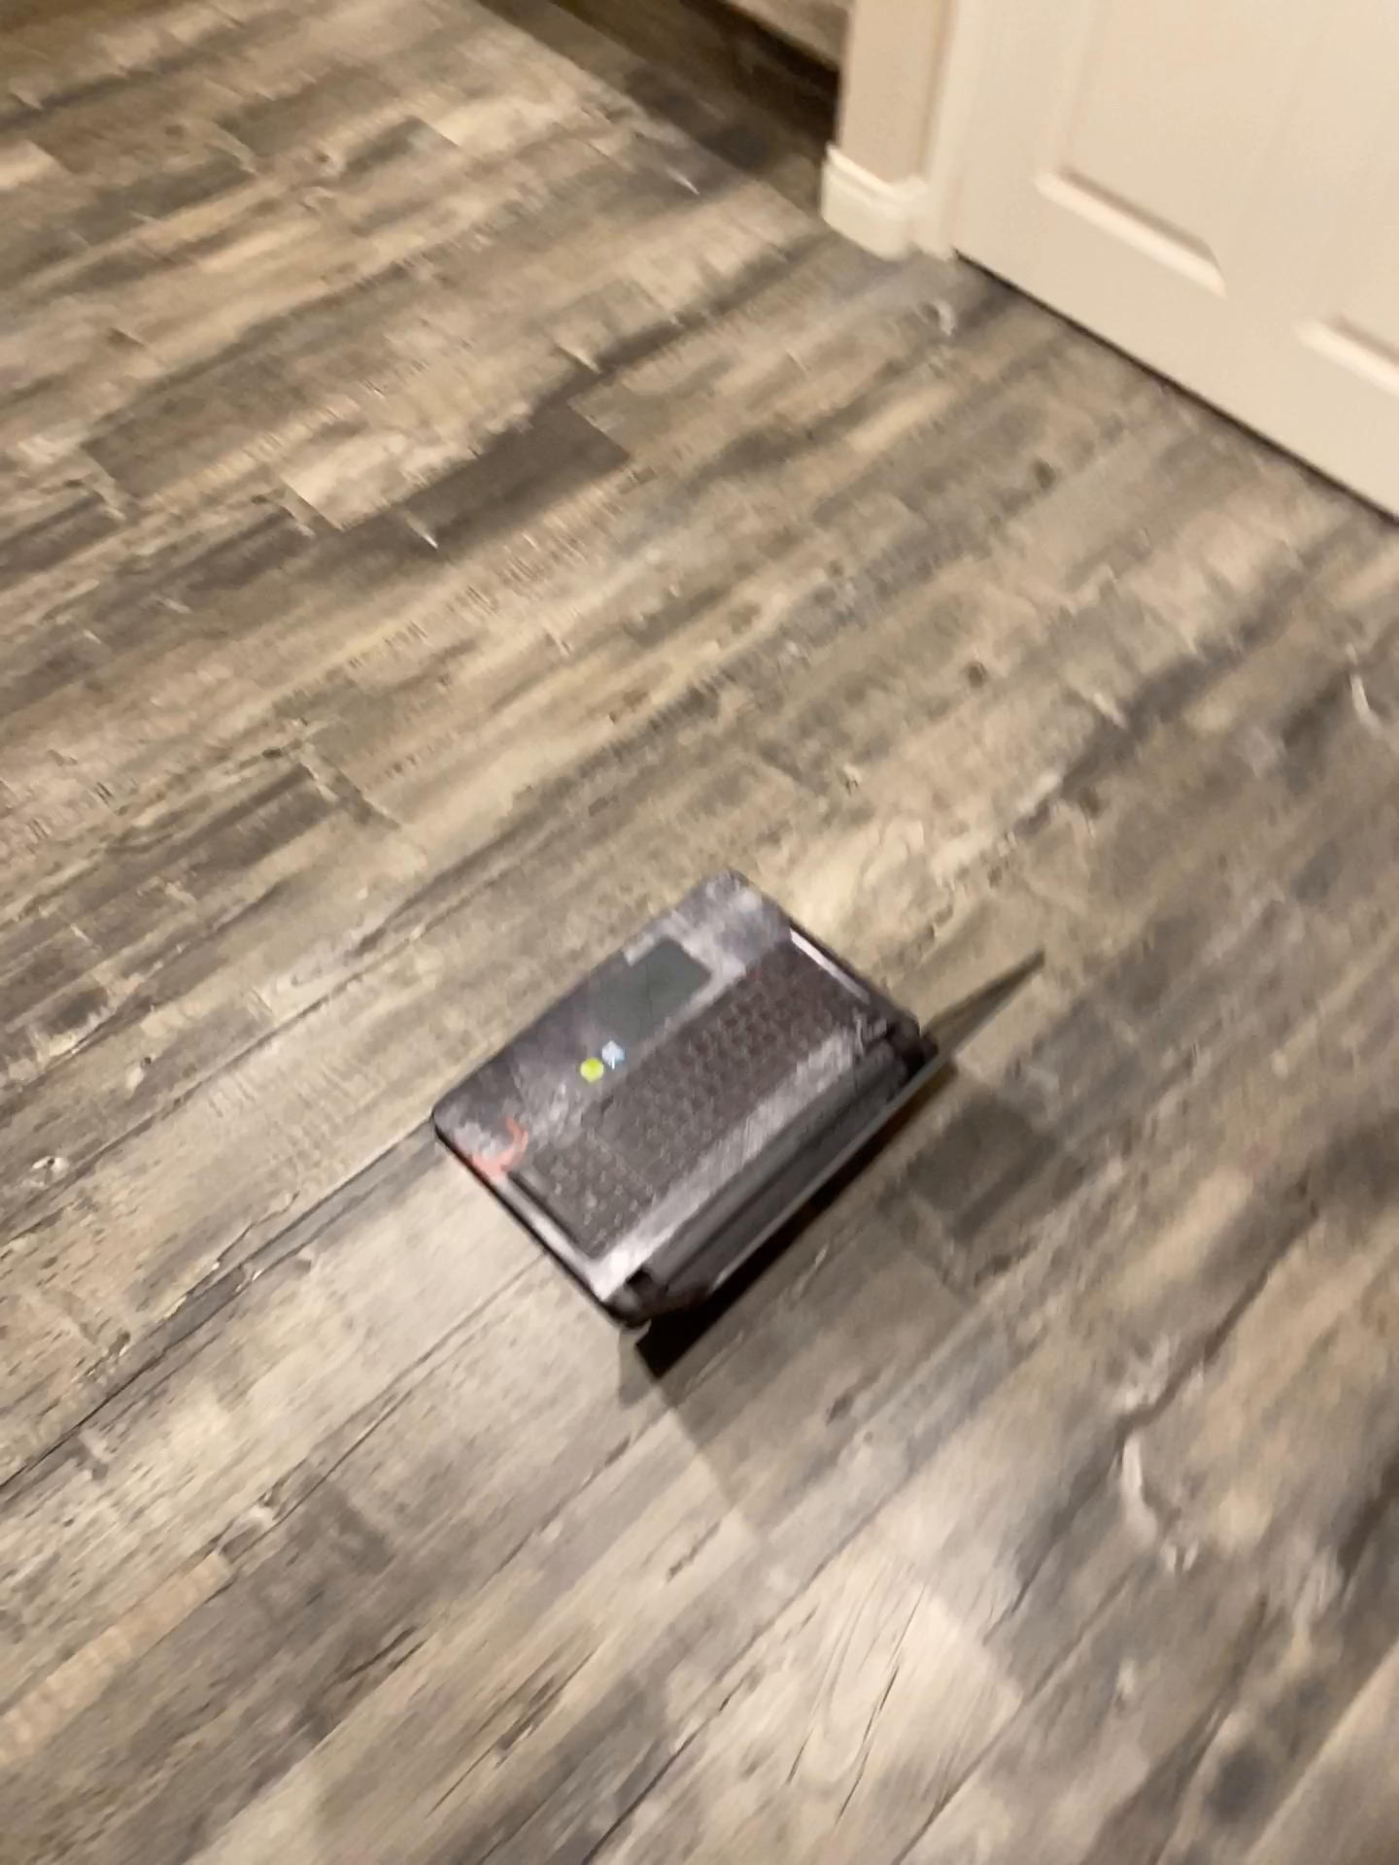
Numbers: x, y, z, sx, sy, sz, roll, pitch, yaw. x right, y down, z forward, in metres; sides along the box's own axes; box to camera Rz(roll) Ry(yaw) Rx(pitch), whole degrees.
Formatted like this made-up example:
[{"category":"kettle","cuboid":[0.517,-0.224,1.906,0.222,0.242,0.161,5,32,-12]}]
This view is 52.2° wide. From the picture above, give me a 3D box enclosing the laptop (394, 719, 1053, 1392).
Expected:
[{"category":"laptop","cuboid":[0.017,0.089,1.152,0.327,0.225,0.372,40,64,22]}]
